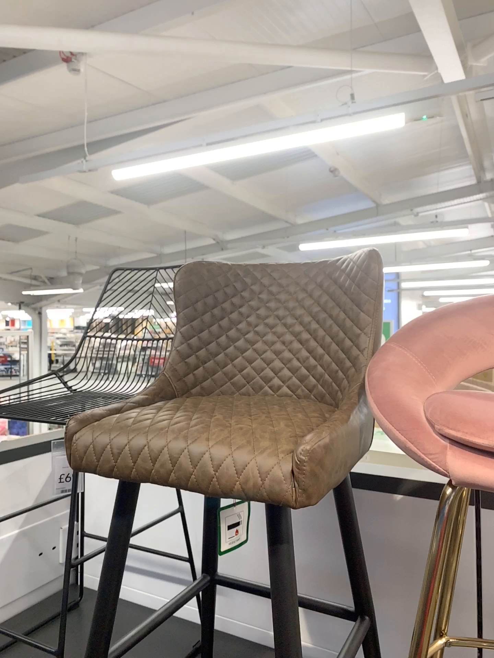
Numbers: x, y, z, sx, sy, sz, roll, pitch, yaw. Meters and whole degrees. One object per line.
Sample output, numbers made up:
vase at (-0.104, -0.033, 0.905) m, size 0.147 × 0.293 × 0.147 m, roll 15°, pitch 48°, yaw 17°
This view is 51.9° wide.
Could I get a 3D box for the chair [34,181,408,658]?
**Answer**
chair at (-0.003, 0.301, 0.963) m, size 0.535 × 0.996 × 0.466 m, roll -1°, pitch 2°, yaw 22°
